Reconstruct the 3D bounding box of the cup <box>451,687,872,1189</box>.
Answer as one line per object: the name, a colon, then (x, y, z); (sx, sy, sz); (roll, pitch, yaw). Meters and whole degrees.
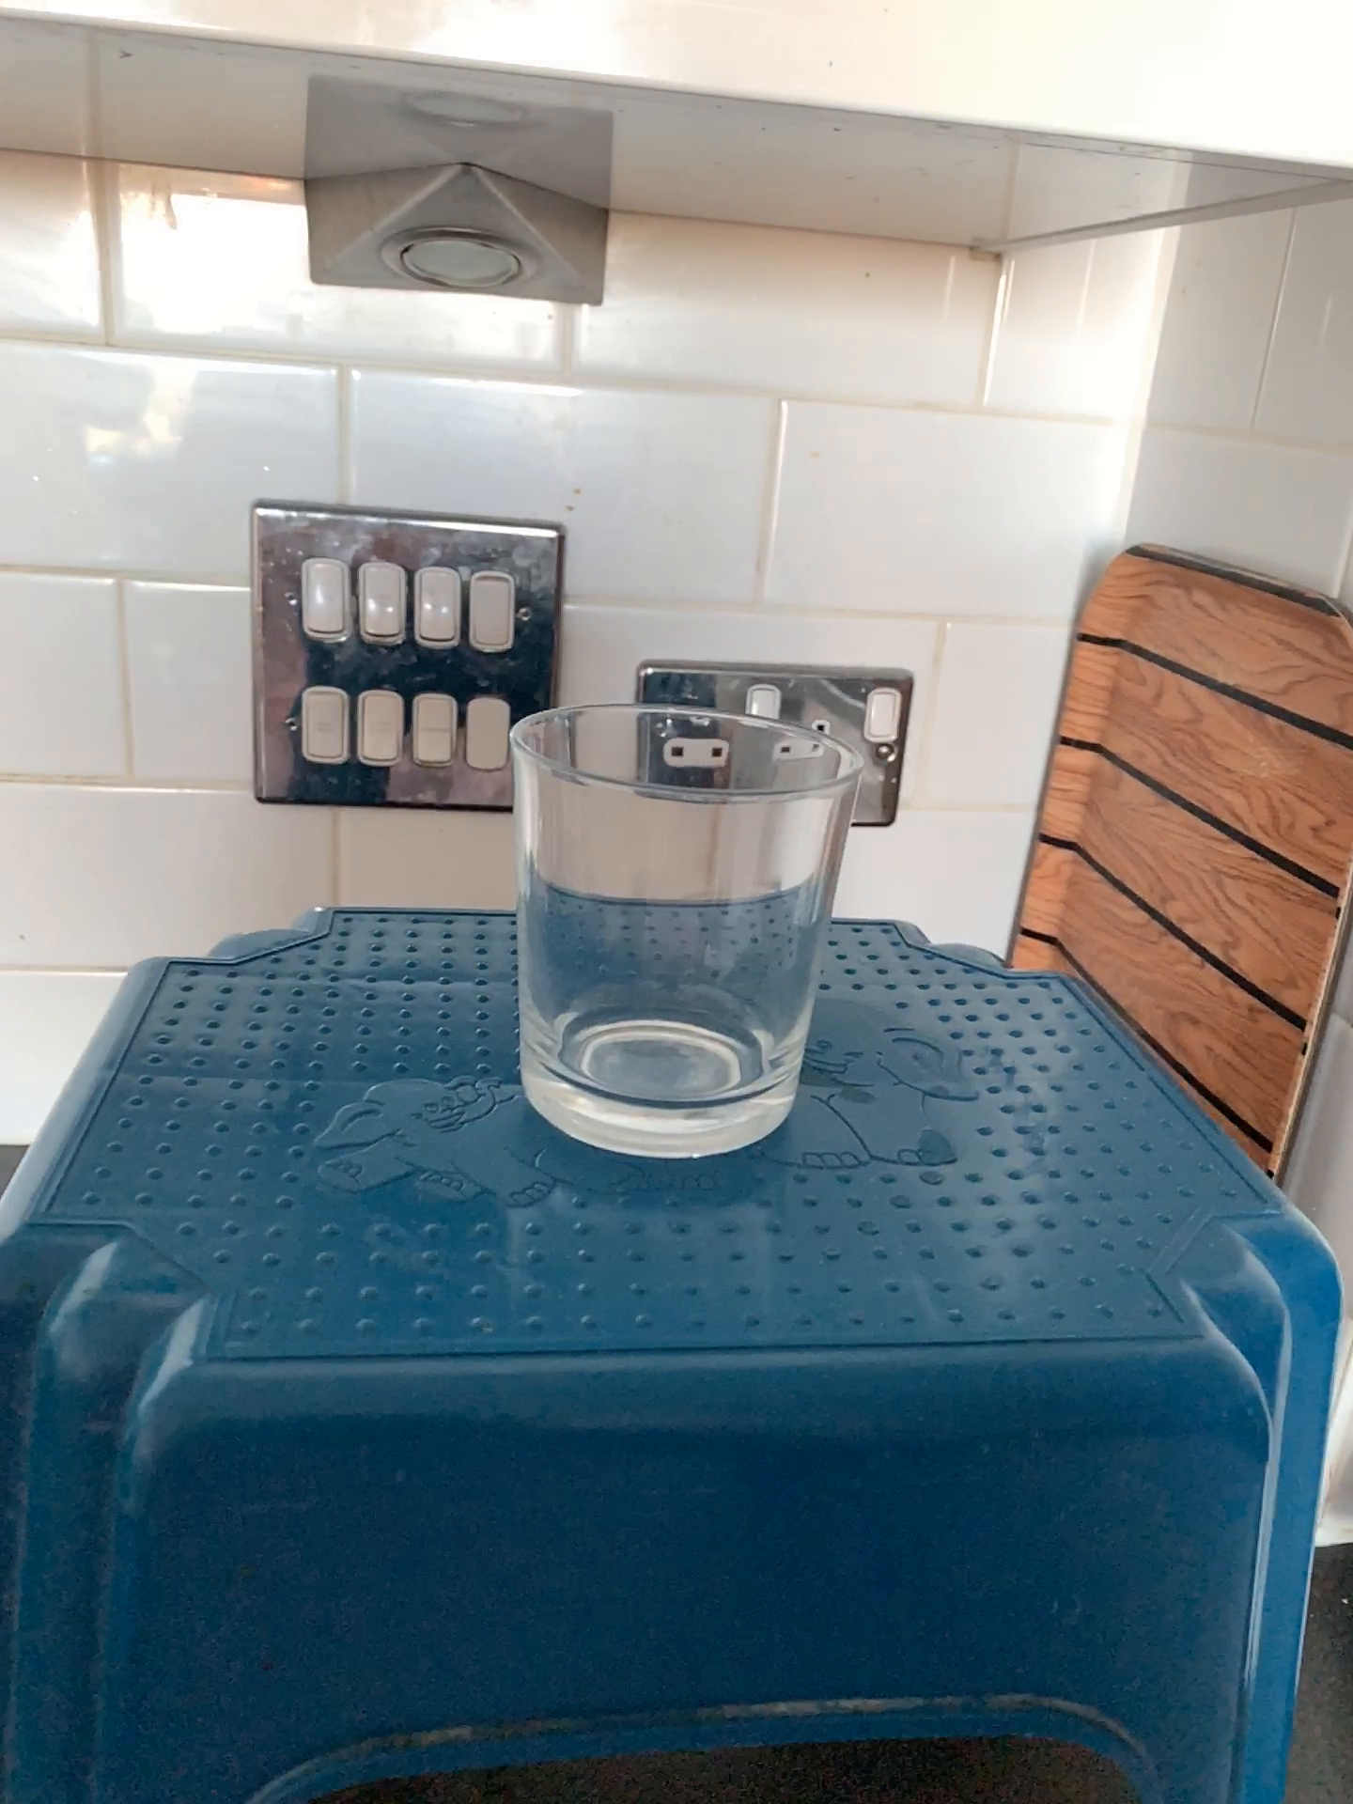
cup: (-0.002, 0.004, 0.318); (0.076, 0.085, 0.067); (9, 21, 10)
